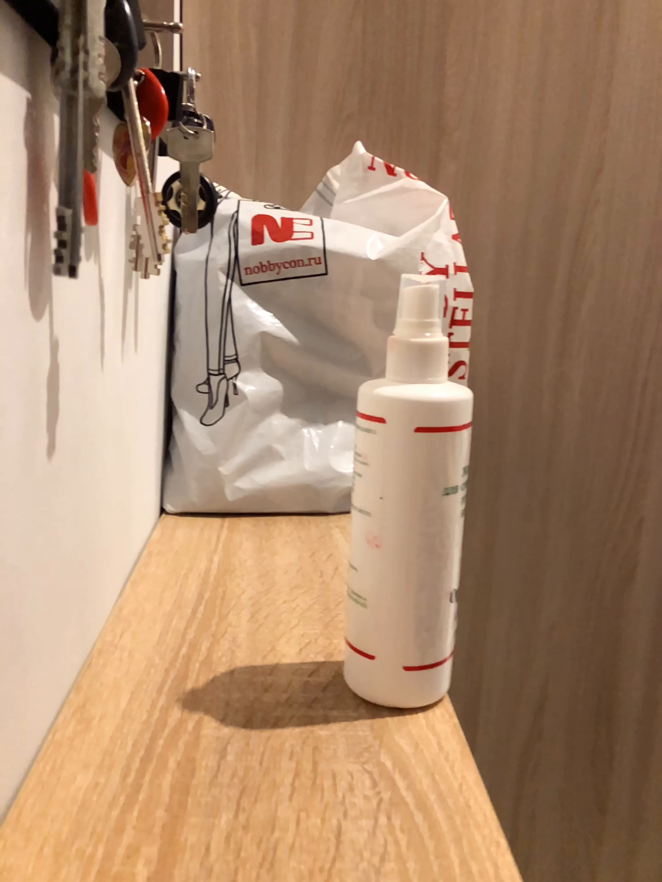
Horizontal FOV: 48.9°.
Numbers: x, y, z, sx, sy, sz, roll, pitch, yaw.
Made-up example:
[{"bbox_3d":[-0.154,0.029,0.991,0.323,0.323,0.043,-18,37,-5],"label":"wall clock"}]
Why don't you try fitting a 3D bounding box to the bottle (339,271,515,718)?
[{"bbox_3d":[0.037,0.021,0.320,0.059,0.183,0.056,2,11,0],"label":"bottle"}]
